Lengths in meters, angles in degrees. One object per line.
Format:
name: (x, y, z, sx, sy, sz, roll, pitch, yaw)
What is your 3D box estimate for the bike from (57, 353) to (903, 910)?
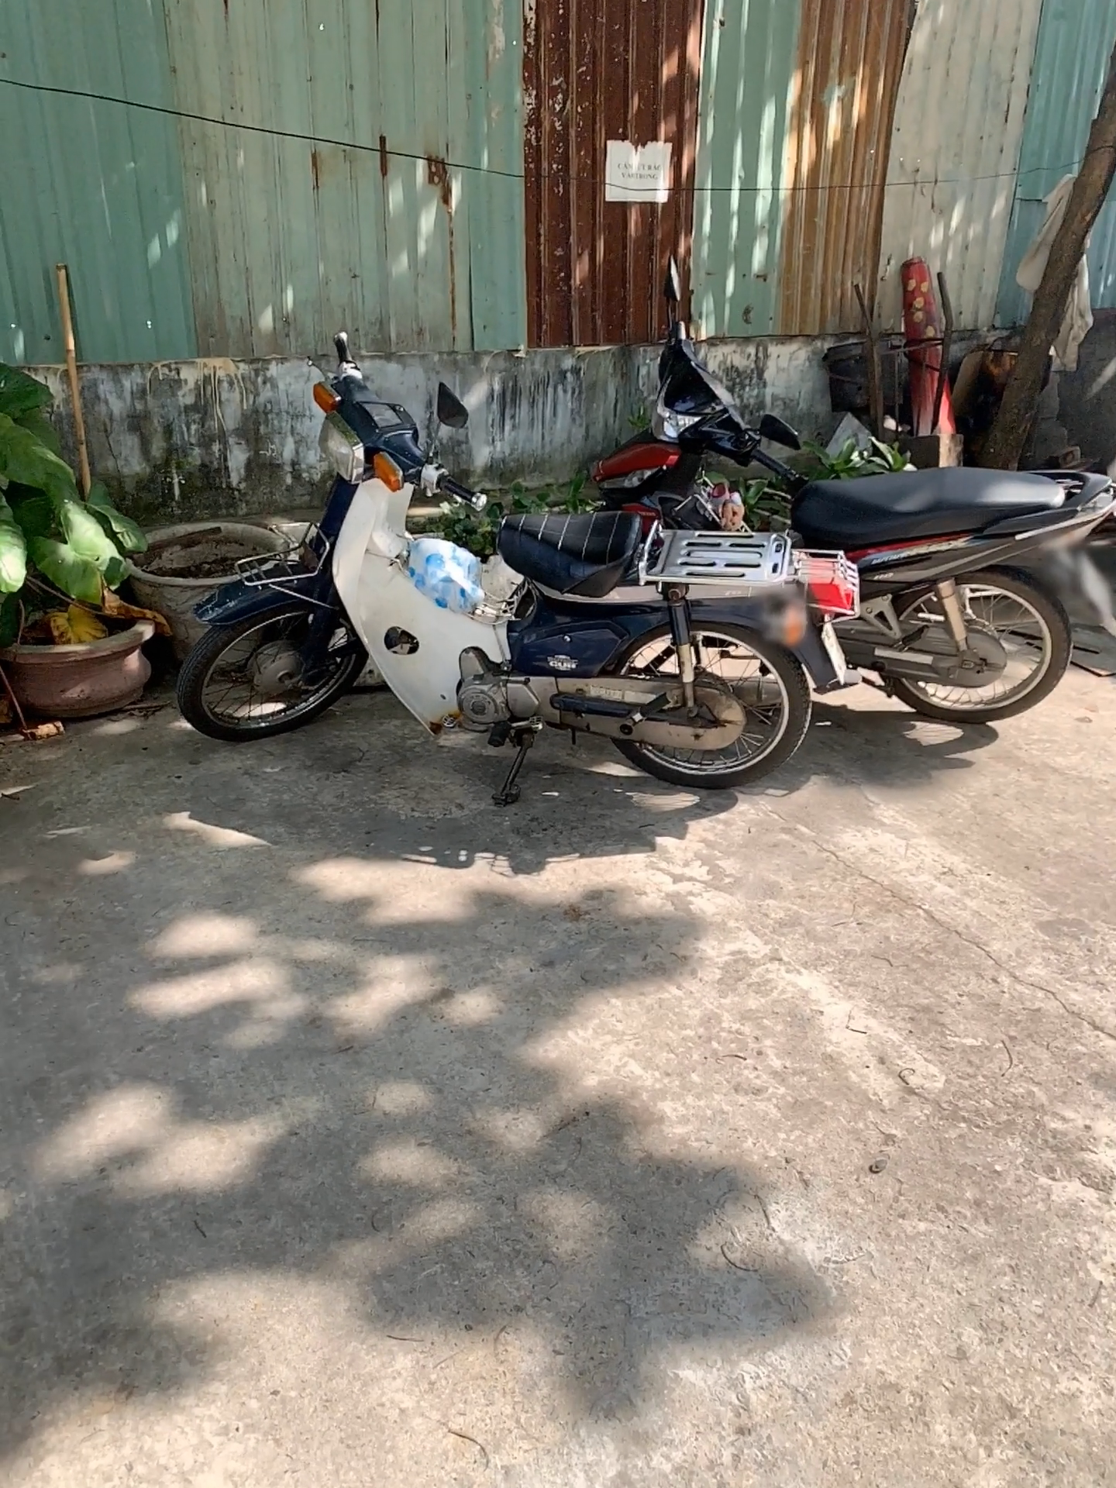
bike: (-0.150, -0.257, 2.487, 1.474, 1.024, 0.656, 1, 25, 3)
